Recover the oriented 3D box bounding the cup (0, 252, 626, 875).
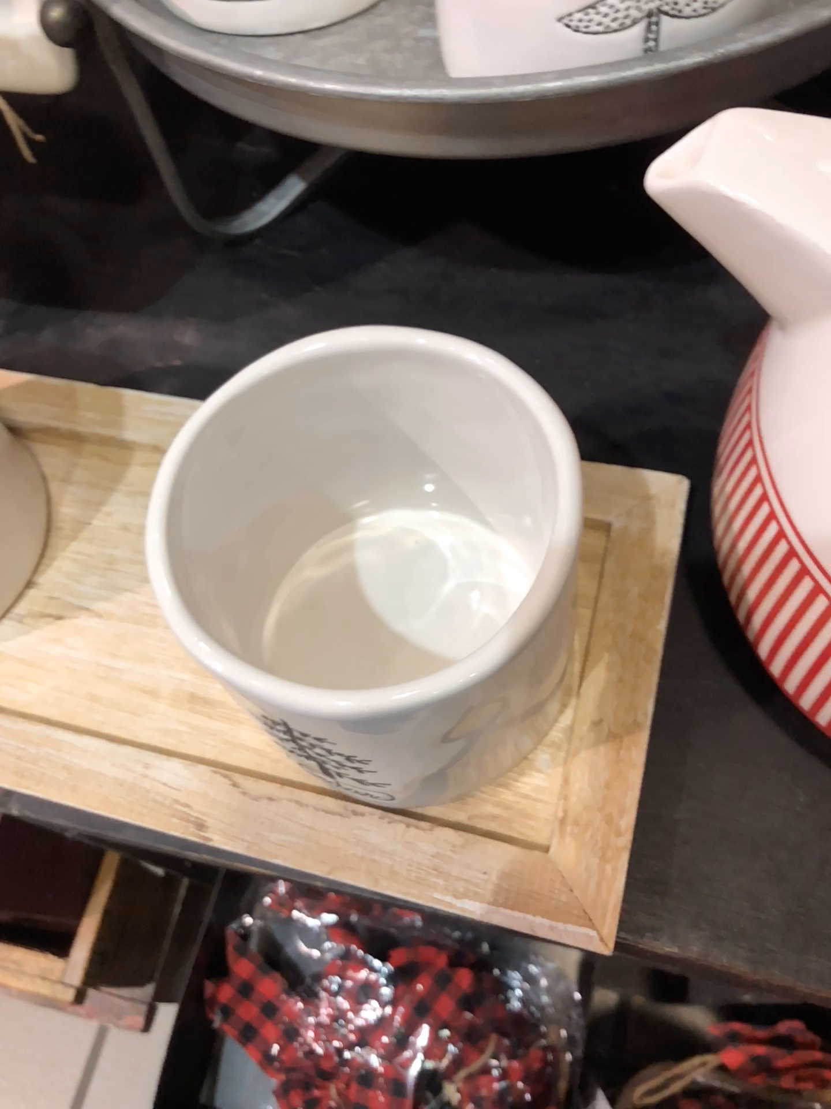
[{"bbox_3d":[-0.015,0.007,0.223,0.097,0.100,0.087,21,69,18],"label":"cup"}]
